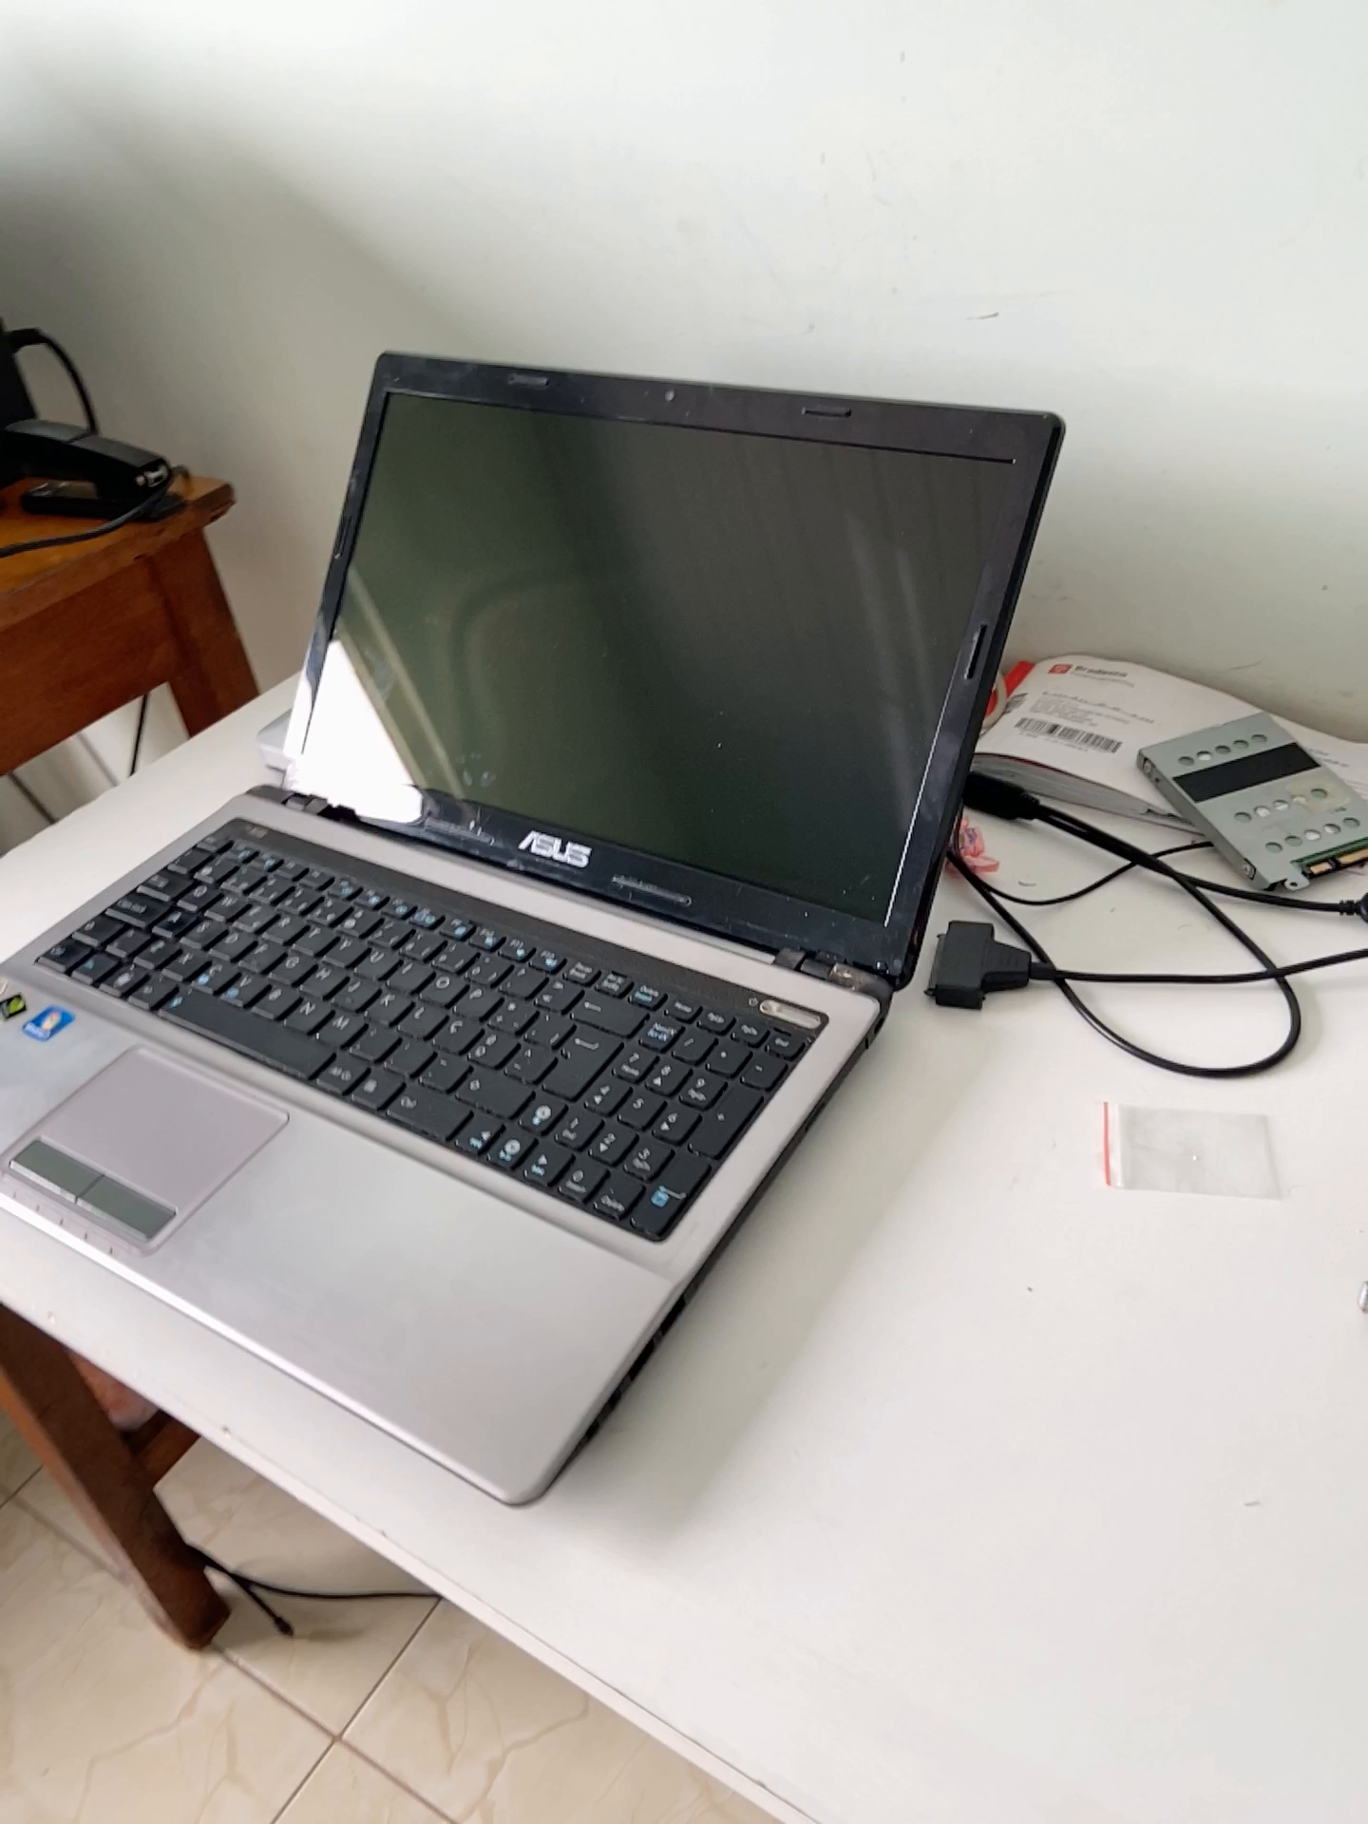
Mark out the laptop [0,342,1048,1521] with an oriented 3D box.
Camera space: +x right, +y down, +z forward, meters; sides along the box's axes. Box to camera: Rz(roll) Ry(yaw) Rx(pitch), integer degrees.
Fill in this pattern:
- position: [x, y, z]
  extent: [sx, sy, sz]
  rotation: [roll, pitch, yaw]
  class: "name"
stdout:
- position: [-0.109, -0.062, 0.582]
  extent: [0.377, 0.179, 0.417]
  rotation: [17, 45, 30]
  class: "laptop"
